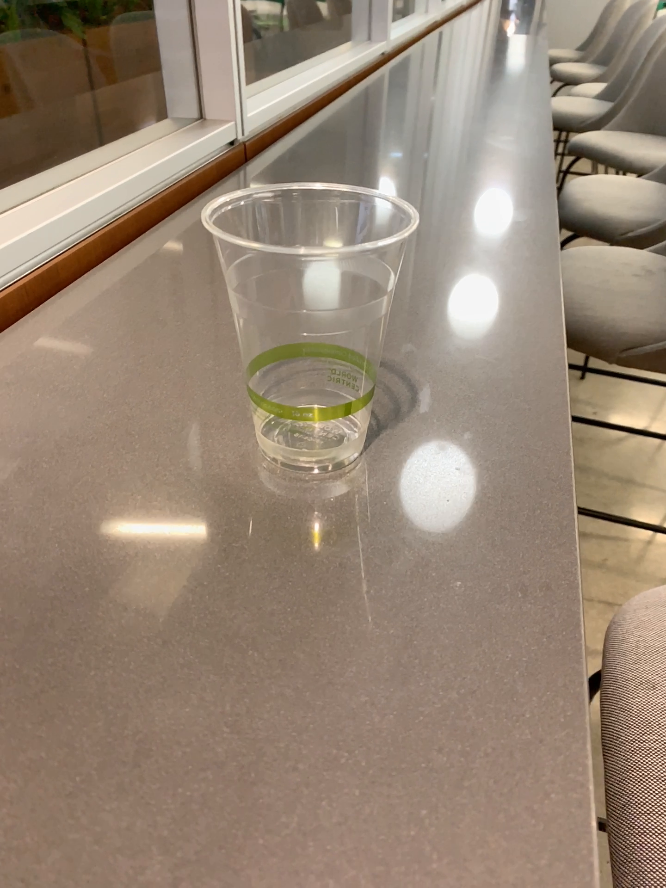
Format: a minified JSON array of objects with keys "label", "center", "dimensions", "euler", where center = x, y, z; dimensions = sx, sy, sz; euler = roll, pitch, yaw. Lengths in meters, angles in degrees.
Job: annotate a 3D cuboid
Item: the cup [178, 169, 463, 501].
[{"label":"cup","center":[-0.012,-0.062,0.353],"dimensions":[0.100,0.119,0.111],"euler":[-13,37,-18]}]
